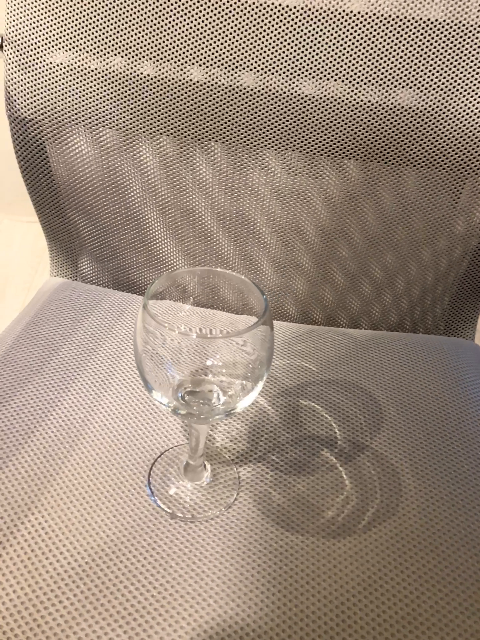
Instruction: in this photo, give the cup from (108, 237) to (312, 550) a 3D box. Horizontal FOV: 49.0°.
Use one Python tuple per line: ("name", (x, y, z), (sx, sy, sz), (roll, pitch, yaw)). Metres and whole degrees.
("cup", (-0.023, 0.051, 0.338), (0.081, 0.172, 0.089), (-16, 45, -21))
